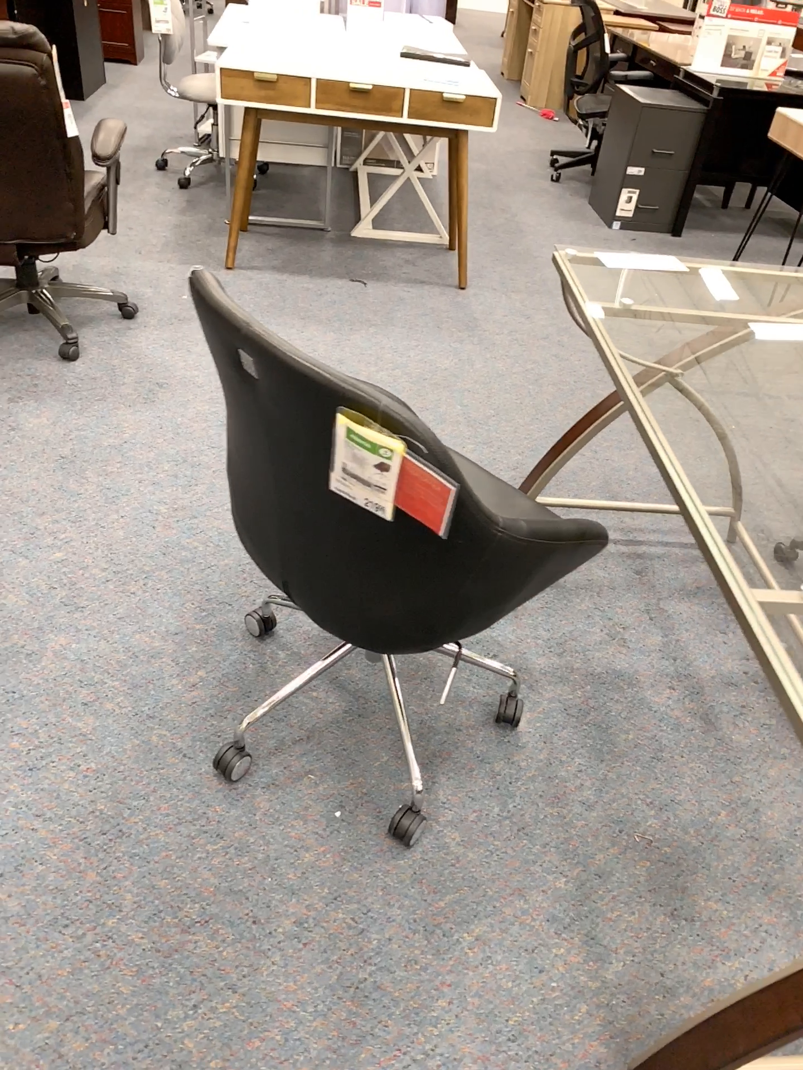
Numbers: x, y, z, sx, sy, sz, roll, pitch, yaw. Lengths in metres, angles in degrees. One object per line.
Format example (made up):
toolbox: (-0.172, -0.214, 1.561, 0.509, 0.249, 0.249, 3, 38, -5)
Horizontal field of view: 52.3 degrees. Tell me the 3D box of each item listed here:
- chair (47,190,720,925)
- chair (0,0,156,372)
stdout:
chair: (-0.062, -0.011, 1.377, 0.656, 0.844, 0.659, -26, 49, -36)
chair: (-1.204, -1.132, 2.536, 0.727, 0.923, 0.858, -1, 39, -11)
